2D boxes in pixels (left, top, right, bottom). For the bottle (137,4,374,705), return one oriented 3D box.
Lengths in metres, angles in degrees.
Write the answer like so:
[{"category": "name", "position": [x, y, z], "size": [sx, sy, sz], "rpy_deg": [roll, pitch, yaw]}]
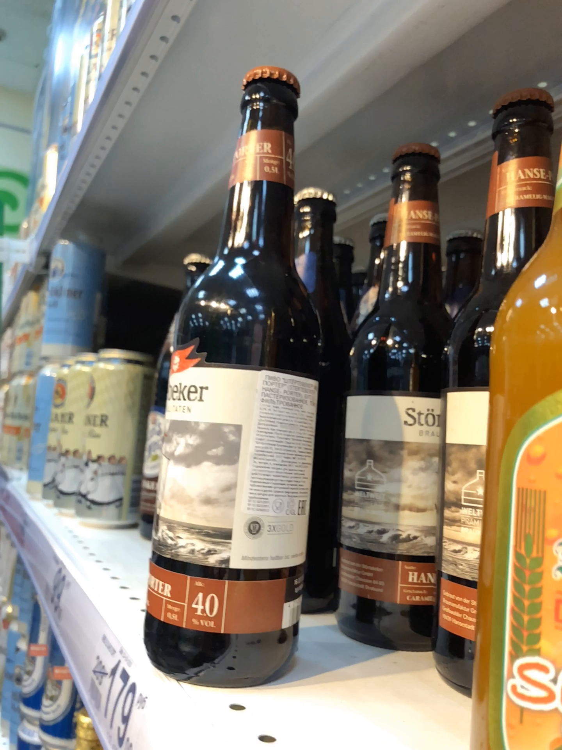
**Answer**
[{"category": "bottle", "position": [-0.013, -0.011, 0.294], "size": [0.070, 0.280, 0.070], "rpy_deg": [4, -6, 0]}]
